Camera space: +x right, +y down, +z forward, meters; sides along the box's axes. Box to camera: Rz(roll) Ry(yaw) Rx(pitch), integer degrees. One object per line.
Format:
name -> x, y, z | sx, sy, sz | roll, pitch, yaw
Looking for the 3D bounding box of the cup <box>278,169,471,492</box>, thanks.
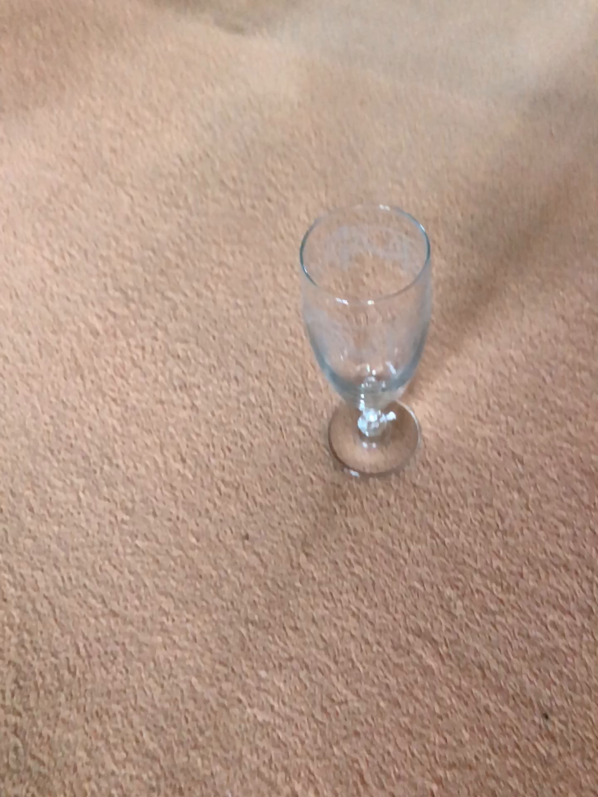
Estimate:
cup -> 0.038, -0.021, 0.325 | 0.060, 0.159, 0.060 | -4, 58, 7
